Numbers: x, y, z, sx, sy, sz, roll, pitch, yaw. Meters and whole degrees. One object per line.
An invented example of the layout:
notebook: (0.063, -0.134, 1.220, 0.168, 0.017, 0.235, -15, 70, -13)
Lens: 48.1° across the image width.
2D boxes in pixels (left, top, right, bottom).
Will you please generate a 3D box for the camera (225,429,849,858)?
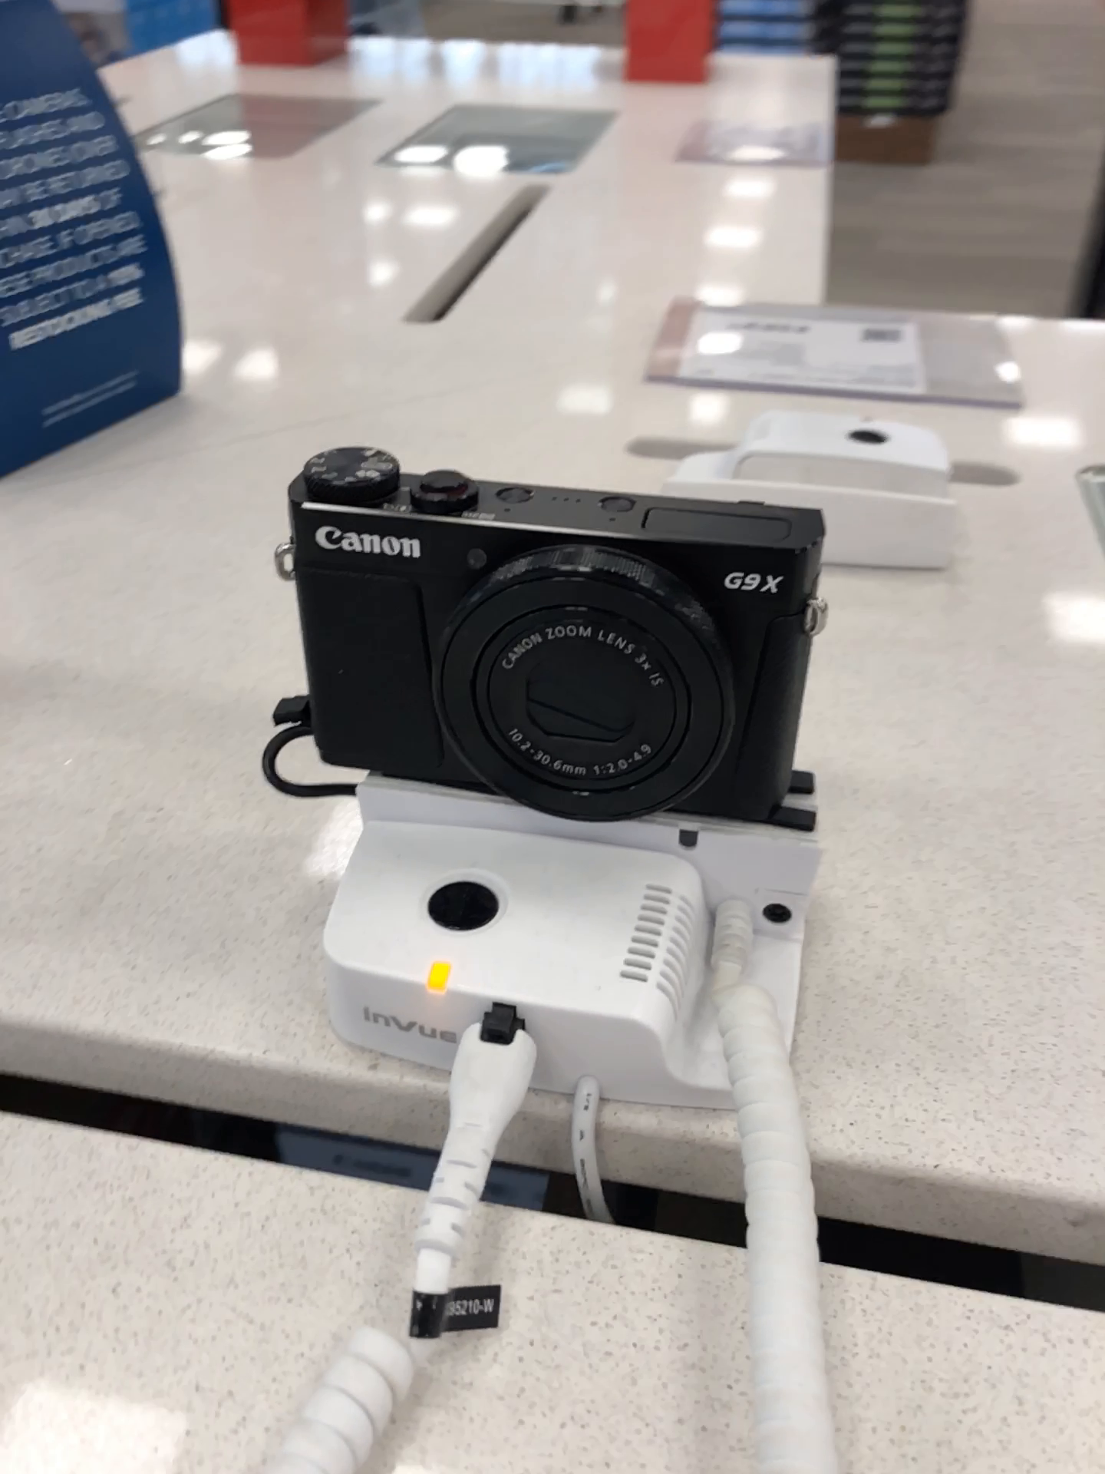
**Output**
camera: (-0.002, -0.017, 0.224, 0.100, 0.060, 0.030, 7, 36, 9)
